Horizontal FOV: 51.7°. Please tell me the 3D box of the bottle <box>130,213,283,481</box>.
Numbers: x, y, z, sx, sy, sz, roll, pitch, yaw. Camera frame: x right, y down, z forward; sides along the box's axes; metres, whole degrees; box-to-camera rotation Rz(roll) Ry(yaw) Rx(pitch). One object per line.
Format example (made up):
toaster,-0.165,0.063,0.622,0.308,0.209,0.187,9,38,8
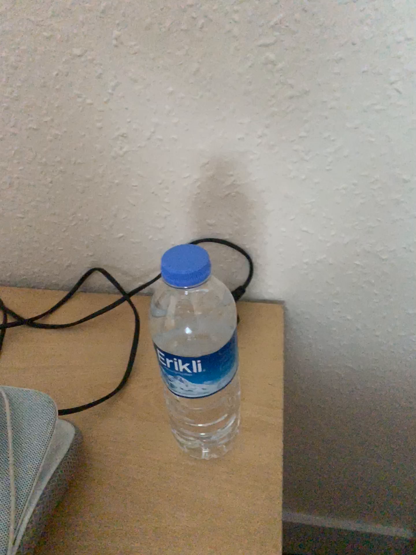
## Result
bottle,0.003,0.058,0.321,0.070,0.188,0.071,-1,38,1
